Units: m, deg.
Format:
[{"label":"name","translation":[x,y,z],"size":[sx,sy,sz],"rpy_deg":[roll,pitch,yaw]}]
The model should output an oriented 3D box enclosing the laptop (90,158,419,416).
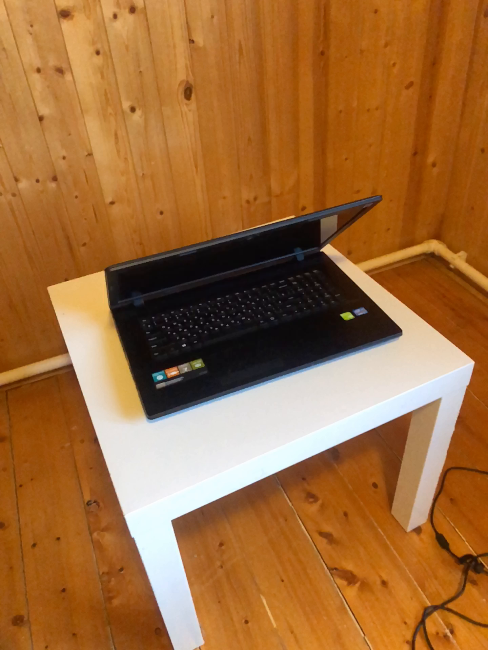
[{"label":"laptop","translation":[0.011,-0.080,0.808],"size":[0.401,0.183,0.252],"rpy_deg":[-17,41,-17]}]
